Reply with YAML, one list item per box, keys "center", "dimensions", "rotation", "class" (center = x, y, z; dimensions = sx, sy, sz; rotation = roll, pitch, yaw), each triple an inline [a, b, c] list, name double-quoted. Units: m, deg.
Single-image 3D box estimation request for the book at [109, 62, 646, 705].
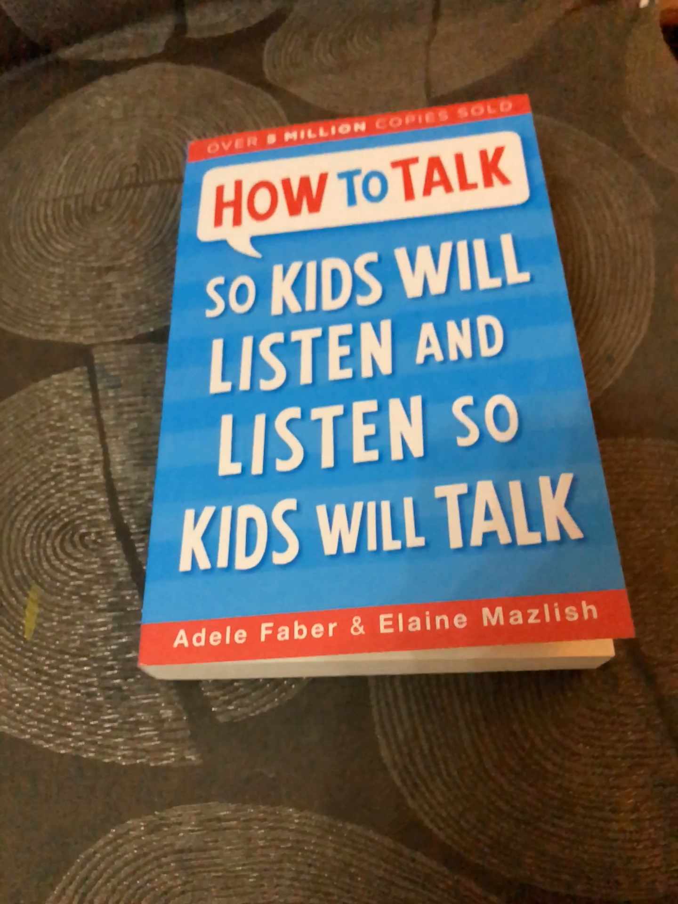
- center: [0.006, -0.031, 0.251]
  dimensions: [0.140, 0.030, 0.211]
  rotation: [-5, 67, 7]
  class: "book"
